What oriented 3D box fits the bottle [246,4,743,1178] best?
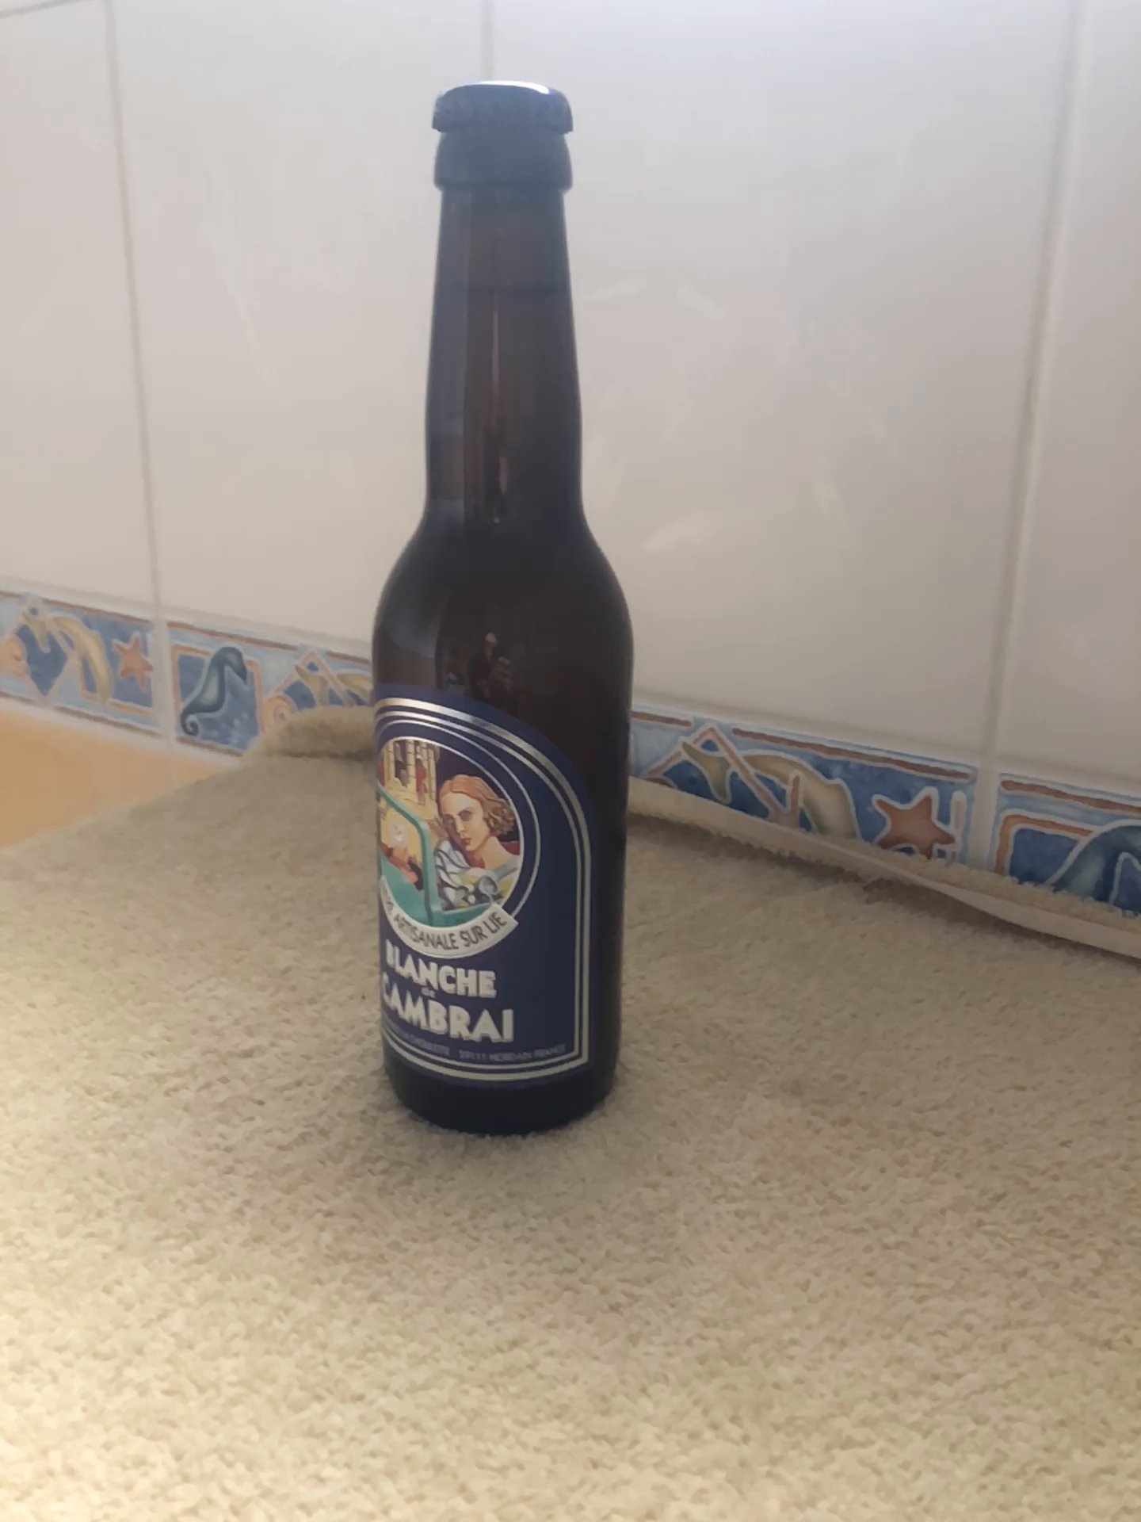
[{"bbox_3d":[-0.014,-0.032,0.280,0.070,0.219,0.070,1,17,0],"label":"bottle"}]
